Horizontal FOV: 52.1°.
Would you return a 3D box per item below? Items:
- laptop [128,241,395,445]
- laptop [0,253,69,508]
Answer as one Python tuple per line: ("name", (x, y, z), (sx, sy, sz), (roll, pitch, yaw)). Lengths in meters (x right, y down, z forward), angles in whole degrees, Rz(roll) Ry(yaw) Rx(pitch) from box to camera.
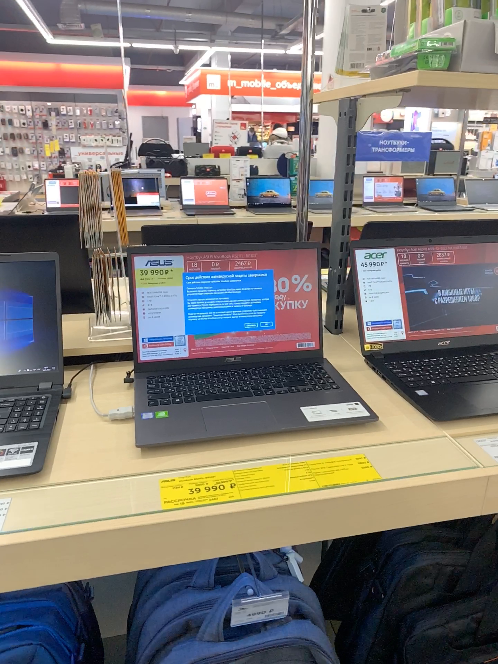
("laptop", (-0.006, -0.009, 0.849), (0.366, 0.217, 0.298), (-4, 21, -12))
("laptop", (-0.480, 0.027, 0.745), (0.350, 0.214, 0.362), (-3, 20, -13))
